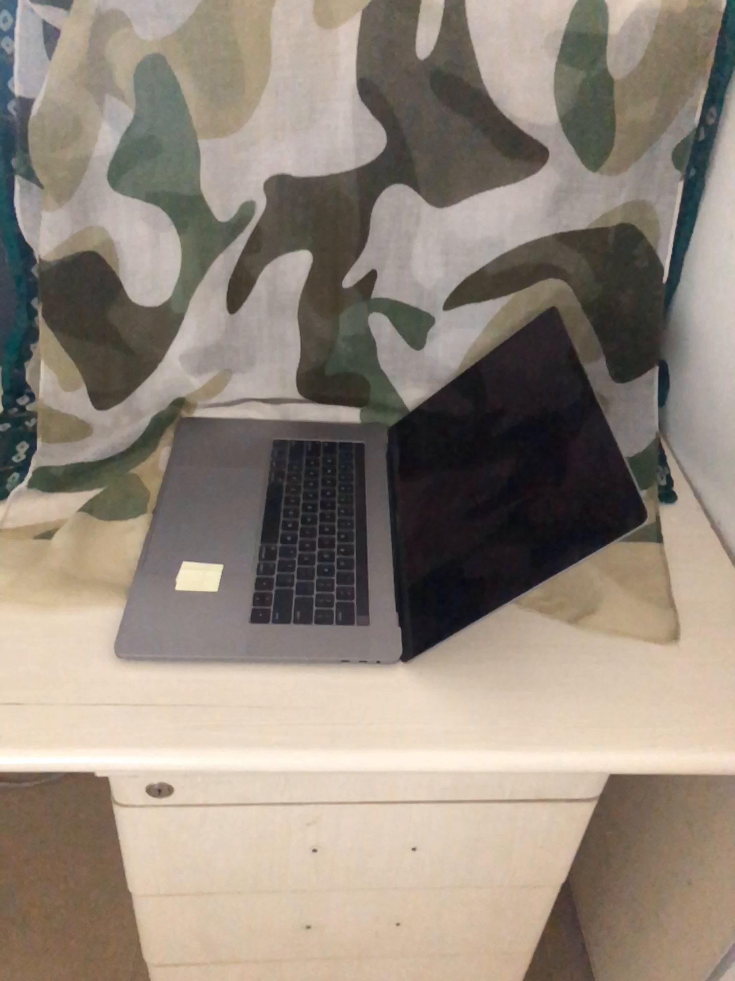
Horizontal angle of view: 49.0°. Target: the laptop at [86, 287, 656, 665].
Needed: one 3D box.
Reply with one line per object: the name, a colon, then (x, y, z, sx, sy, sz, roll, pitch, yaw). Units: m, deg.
laptop: (-0.005, -0.032, 0.754, 0.402, 0.165, 0.343, 2, 37, -2)
